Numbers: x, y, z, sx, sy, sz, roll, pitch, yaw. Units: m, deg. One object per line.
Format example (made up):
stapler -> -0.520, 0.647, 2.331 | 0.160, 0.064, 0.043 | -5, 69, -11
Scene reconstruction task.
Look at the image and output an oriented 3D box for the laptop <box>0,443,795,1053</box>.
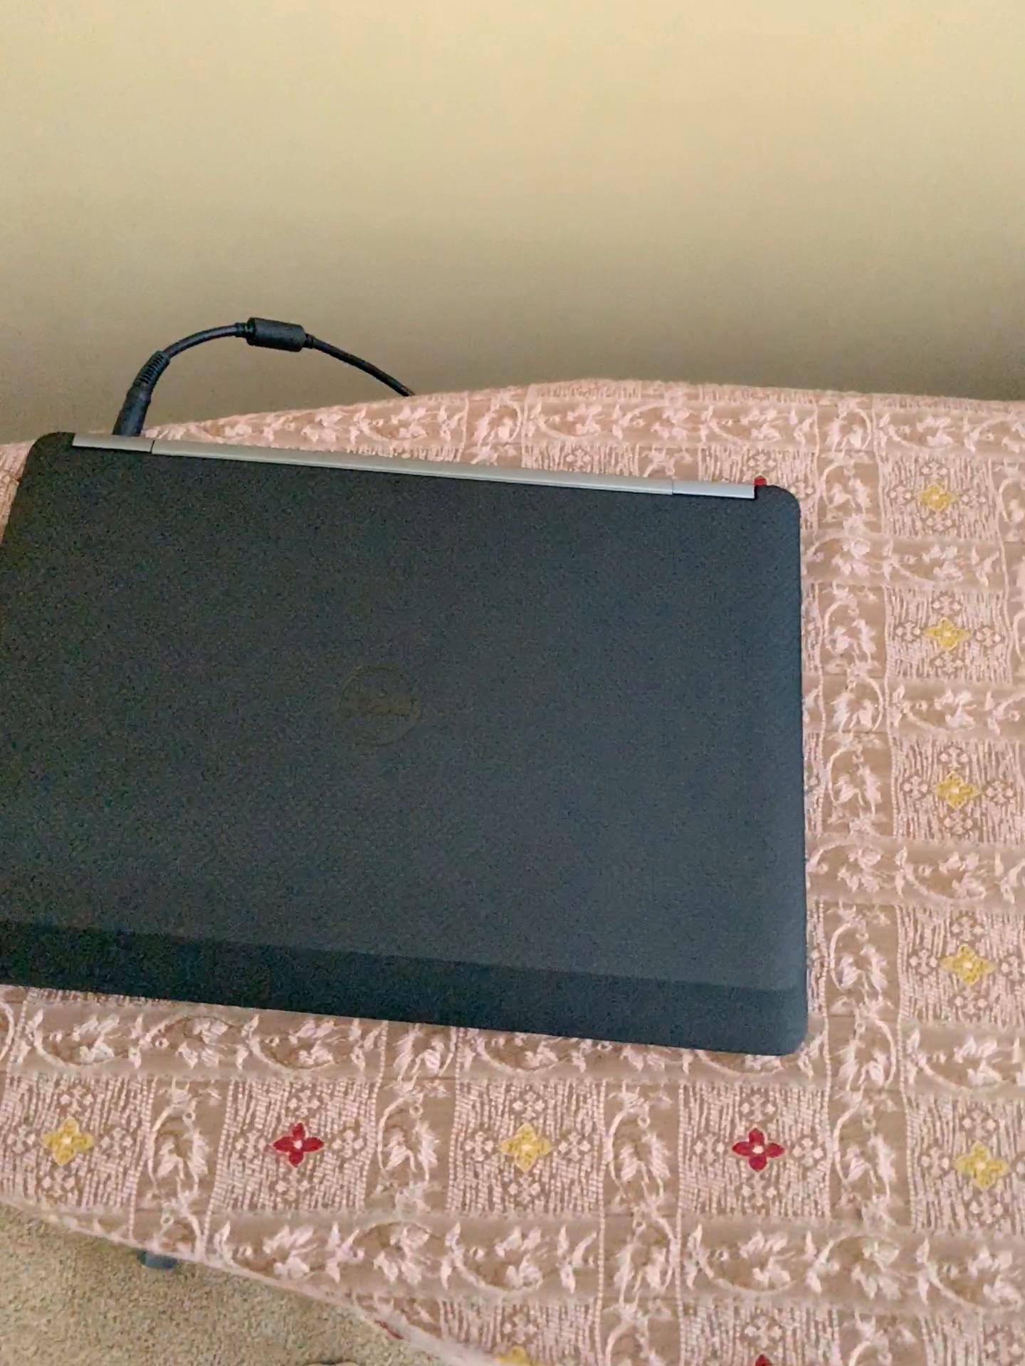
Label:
laptop -> -0.052, 0.012, 0.375 | 0.294, 0.017, 0.197 | 4, 71, 6
